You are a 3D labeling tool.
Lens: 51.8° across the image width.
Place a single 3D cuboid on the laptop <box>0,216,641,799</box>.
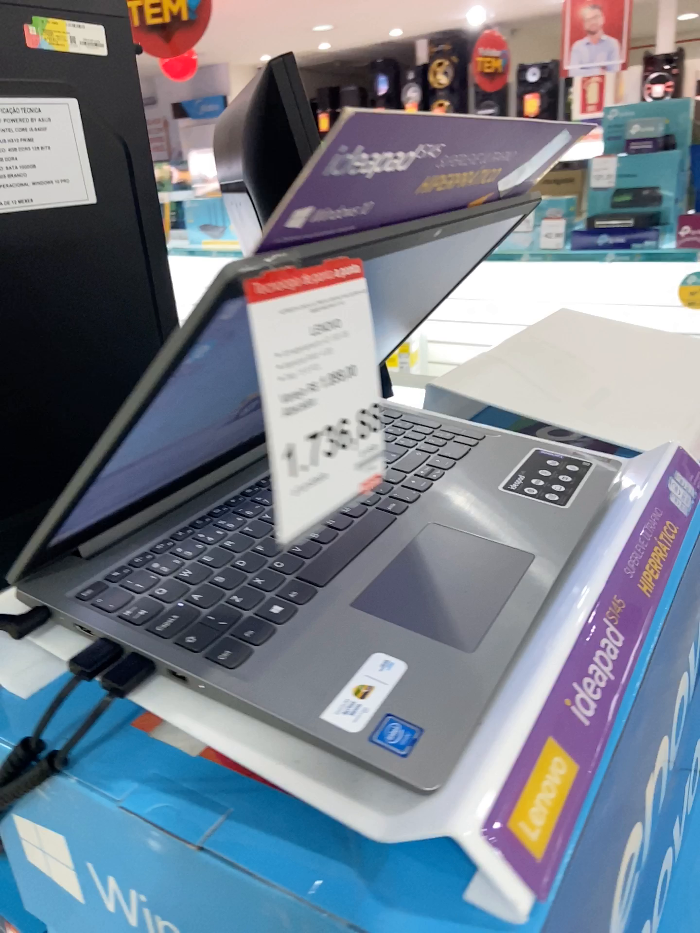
[{"bbox_3d":[0.011,-0.043,0.434,0.244,0.161,0.358,13,26,27],"label":"laptop"}]
